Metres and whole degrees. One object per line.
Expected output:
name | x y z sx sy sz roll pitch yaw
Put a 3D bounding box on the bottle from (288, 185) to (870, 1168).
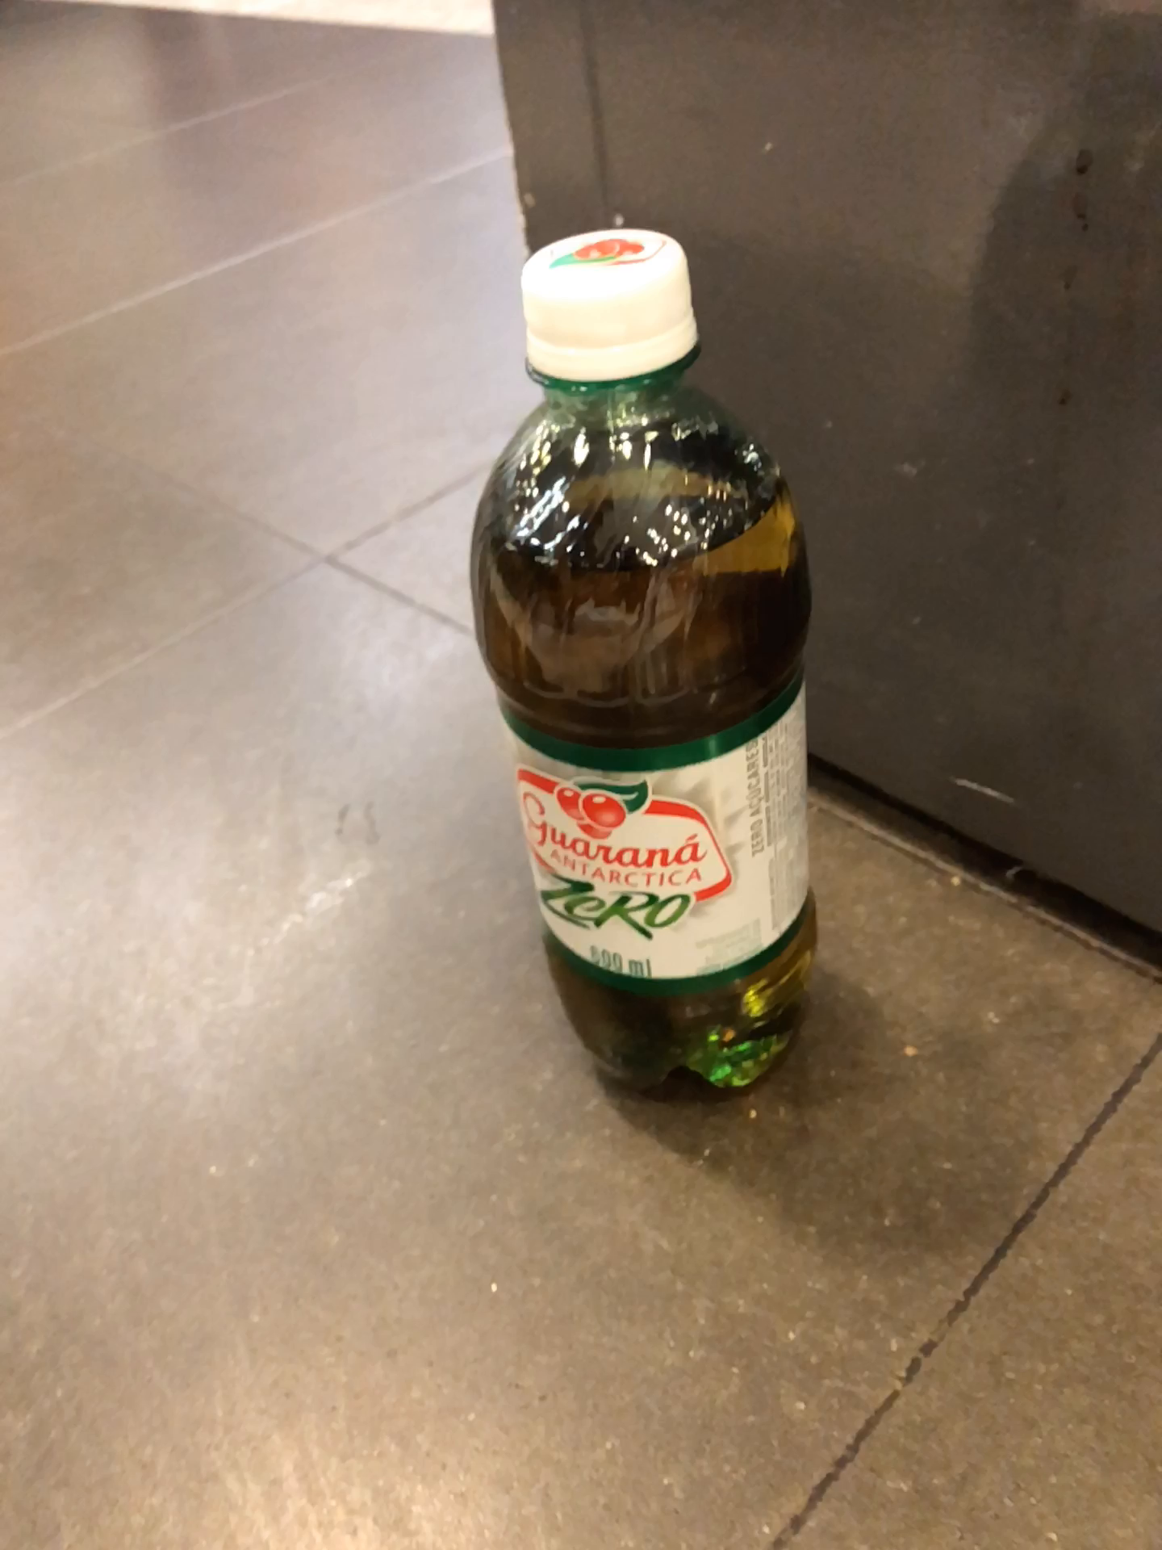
bottle | 0.012 -0.013 0.300 0.080 0.208 0.070 19 47 29
